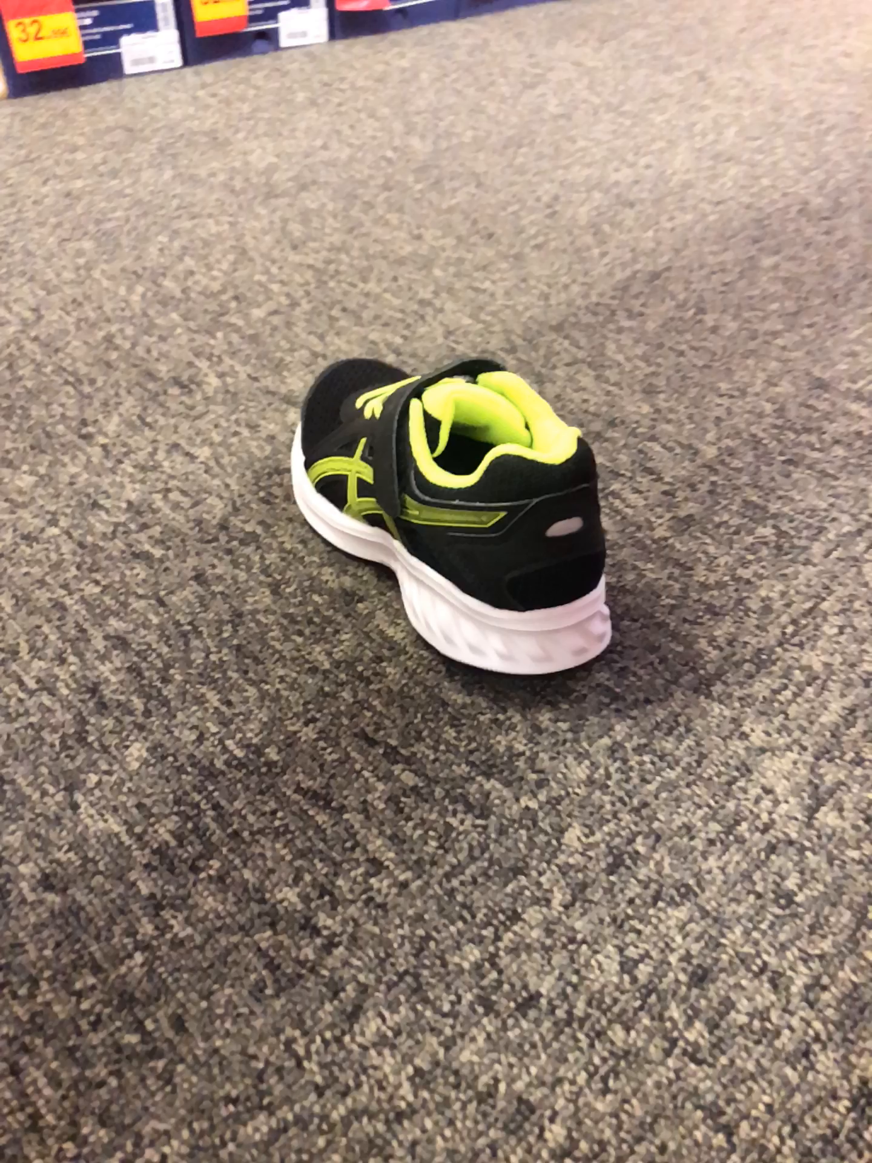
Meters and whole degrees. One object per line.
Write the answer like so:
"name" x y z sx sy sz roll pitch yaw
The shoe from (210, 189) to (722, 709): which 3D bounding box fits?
"shoe" -0.004 -0.064 0.360 0.090 0.080 0.201 -18 47 -22
